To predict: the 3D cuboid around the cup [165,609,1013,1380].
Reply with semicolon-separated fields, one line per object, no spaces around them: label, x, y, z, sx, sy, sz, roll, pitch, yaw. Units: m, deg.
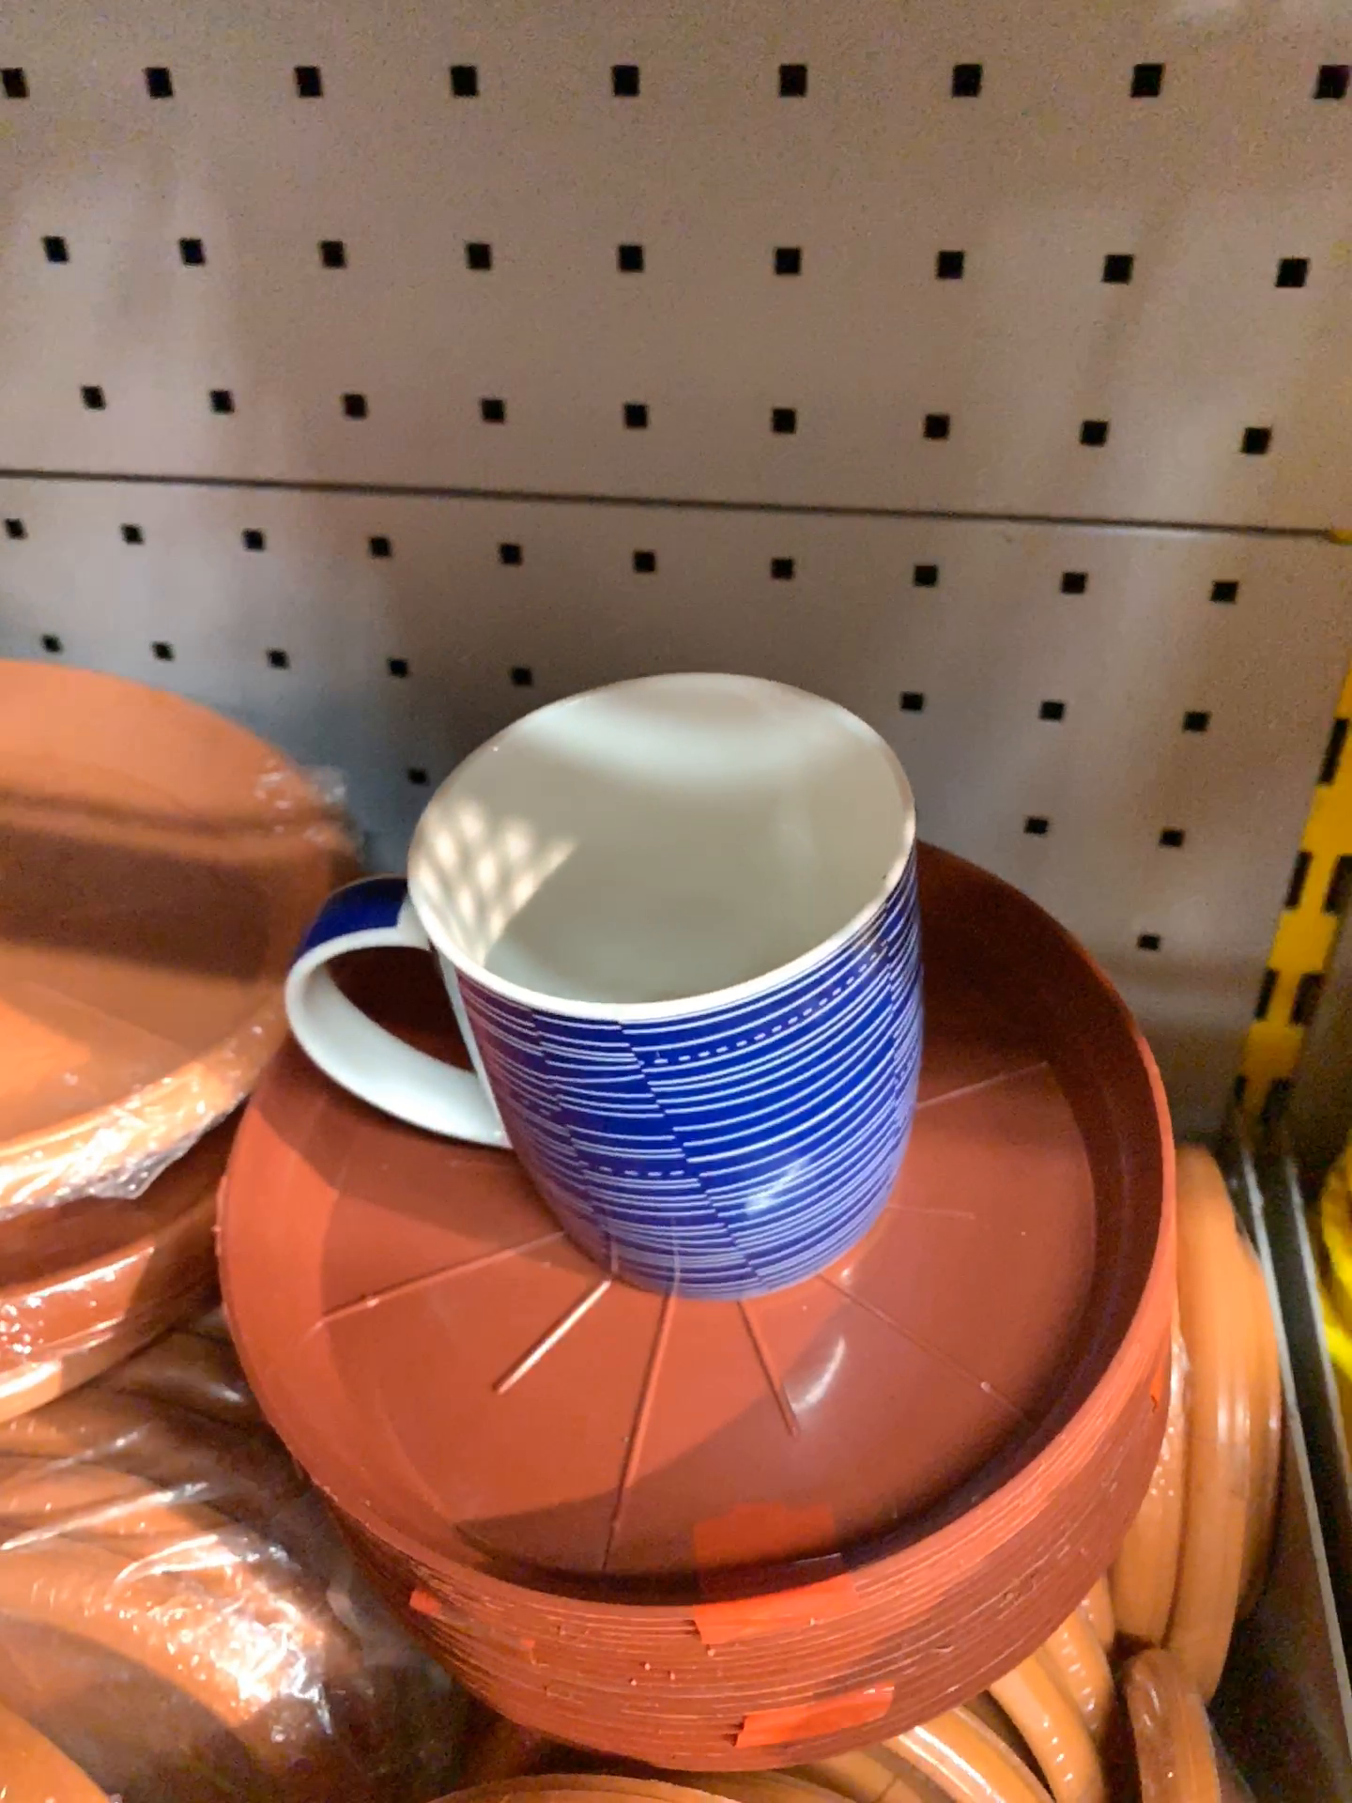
cup;-0.011;0.018;0.284;0.130;0.100;0.100;-7;40;2
